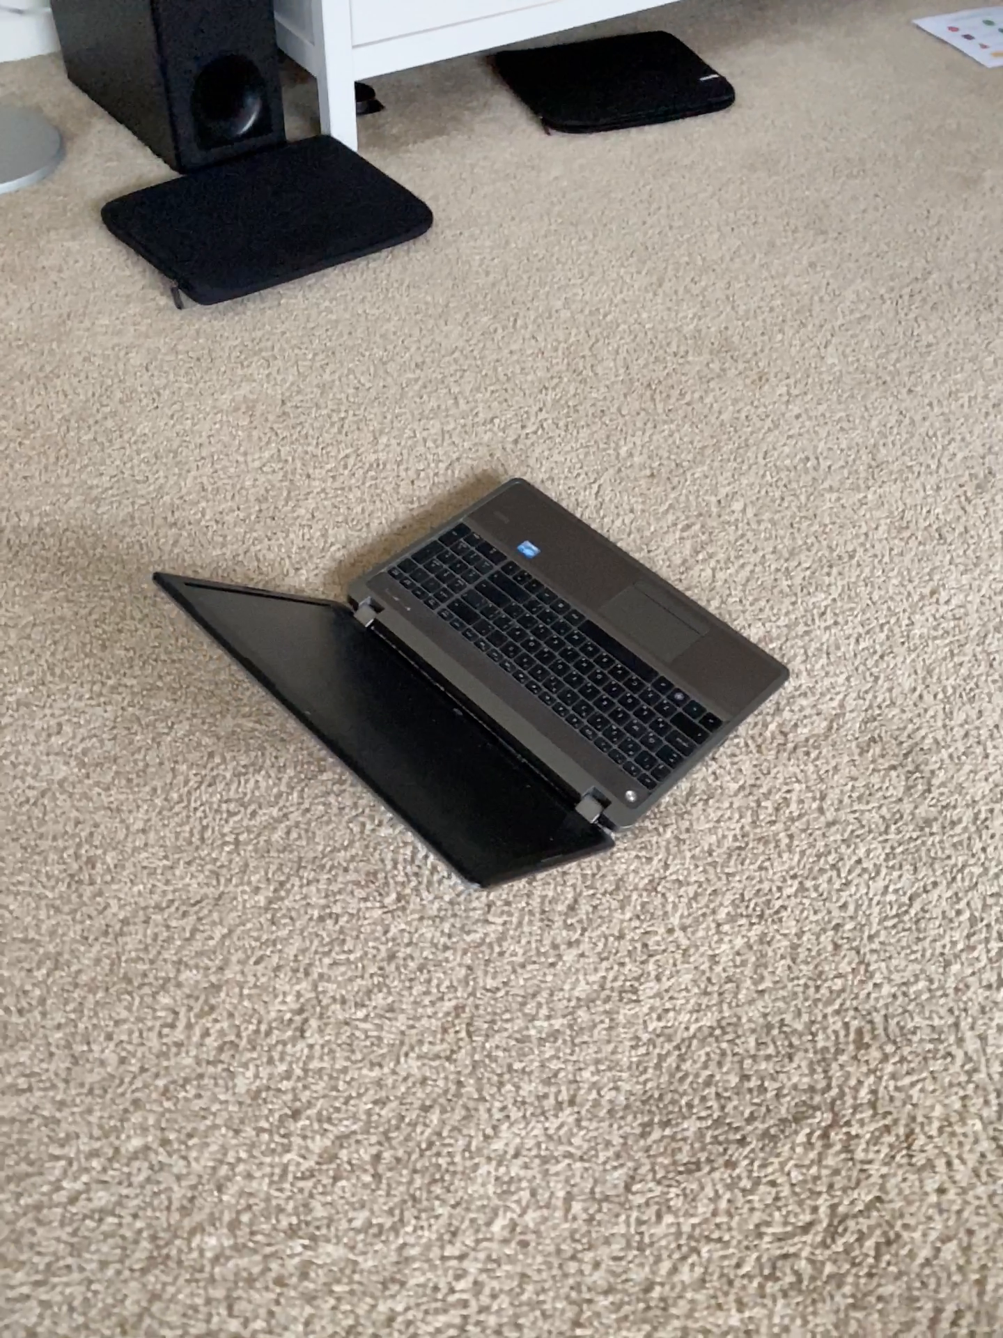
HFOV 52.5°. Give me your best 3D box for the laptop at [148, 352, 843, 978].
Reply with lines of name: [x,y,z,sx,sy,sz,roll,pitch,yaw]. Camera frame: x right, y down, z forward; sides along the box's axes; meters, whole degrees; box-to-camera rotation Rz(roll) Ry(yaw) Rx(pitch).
laptop: [0.000,-0.038,0.899,0.375,0.162,0.436,39,60,24]
